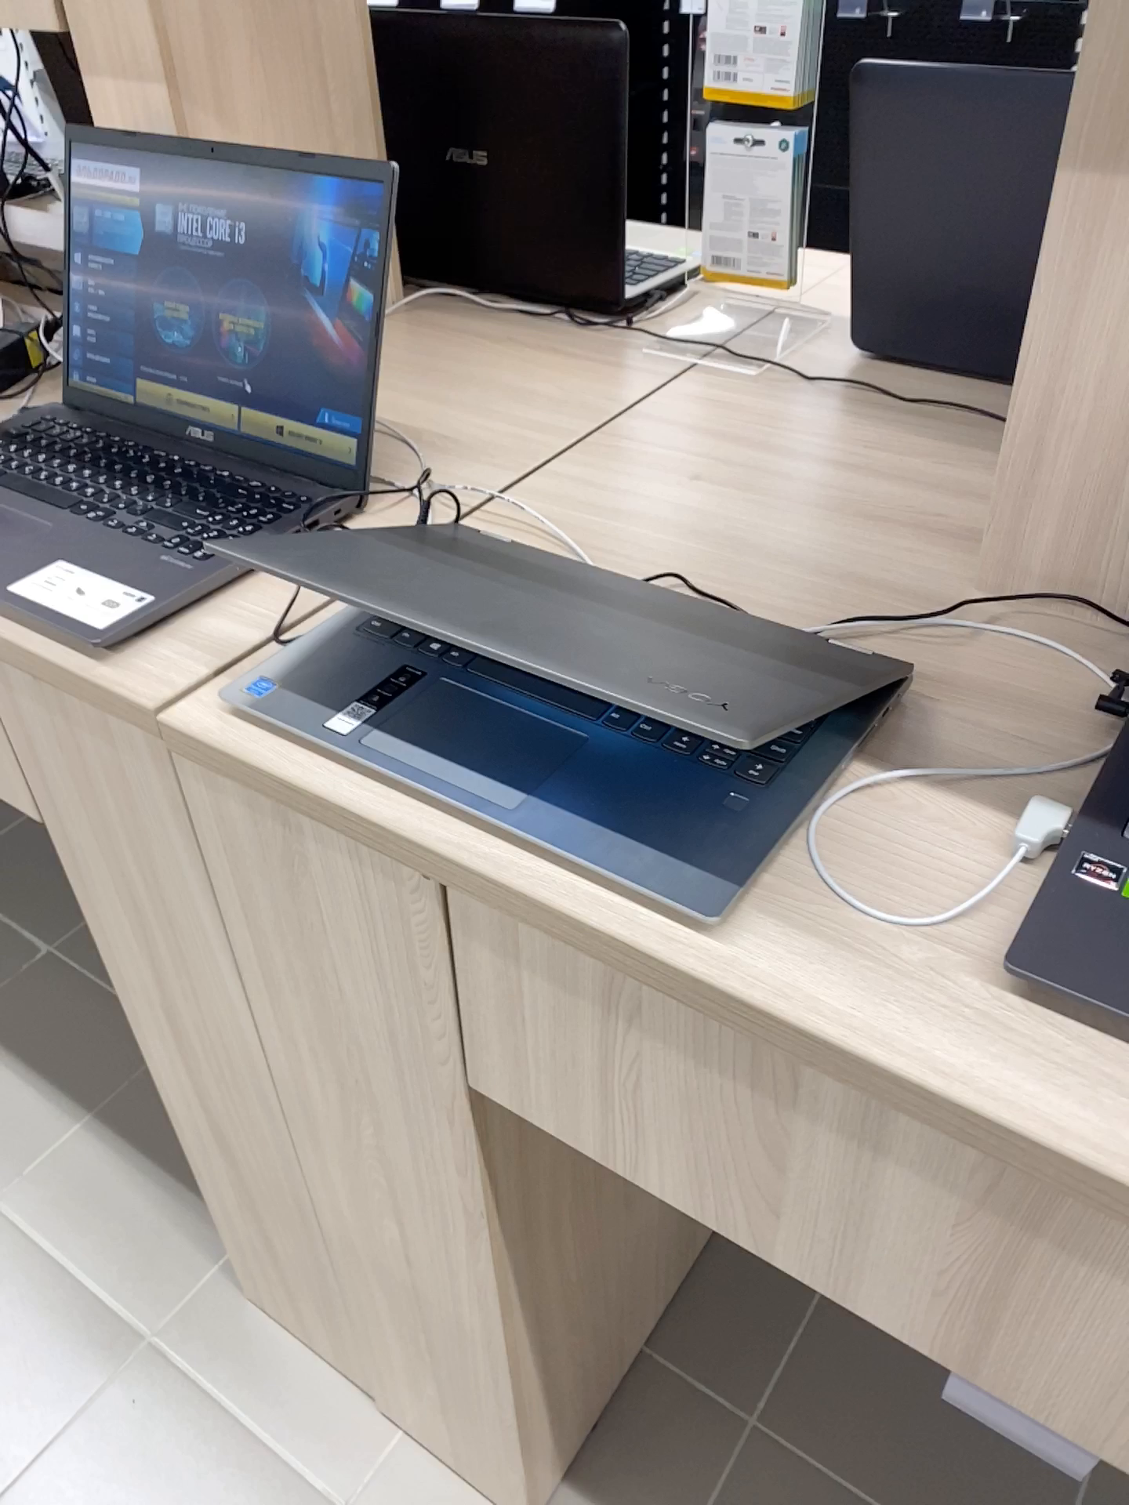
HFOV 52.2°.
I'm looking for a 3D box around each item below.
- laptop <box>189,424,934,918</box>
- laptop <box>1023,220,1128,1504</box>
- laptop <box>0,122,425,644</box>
[{"bbox_3d":[-0.004,-0.071,0.630,0.326,0.082,0.218,22,45,29],"label":"laptop"},{"bbox_3d":[0.427,-0.018,0.422,0.390,0.215,0.304,20,44,26],"label":"laptop"},{"bbox_3d":[-0.346,-0.289,0.818,0.353,0.212,0.308,22,44,28],"label":"laptop"}]
